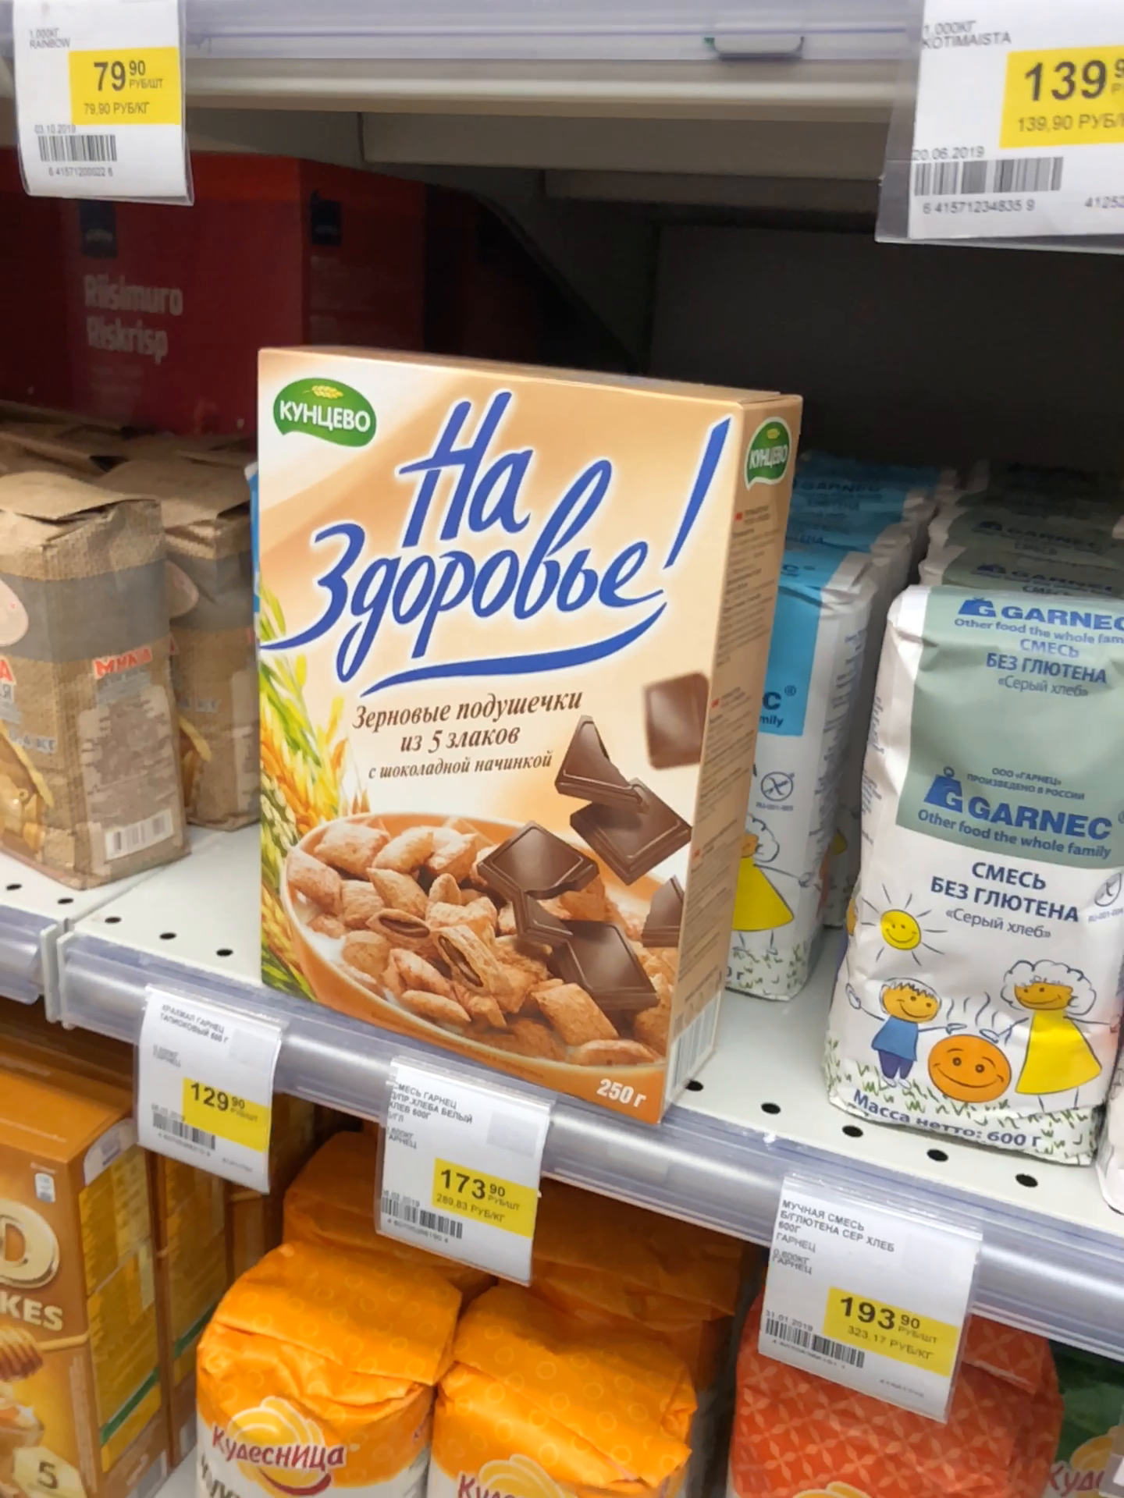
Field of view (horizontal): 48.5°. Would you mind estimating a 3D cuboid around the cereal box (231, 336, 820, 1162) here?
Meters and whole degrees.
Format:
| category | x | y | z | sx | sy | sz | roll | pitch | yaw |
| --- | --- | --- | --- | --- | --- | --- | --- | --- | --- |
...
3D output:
| category | x | y | z | sx | sy | sz | roll | pitch | yaw |
| --- | --- | --- | --- | --- | --- | --- | --- | --- | --- |
| cereal box | -0.020 | -0.006 | 0.383 | 0.160 | 0.219 | 0.050 | 13 | 21 | 24 |
